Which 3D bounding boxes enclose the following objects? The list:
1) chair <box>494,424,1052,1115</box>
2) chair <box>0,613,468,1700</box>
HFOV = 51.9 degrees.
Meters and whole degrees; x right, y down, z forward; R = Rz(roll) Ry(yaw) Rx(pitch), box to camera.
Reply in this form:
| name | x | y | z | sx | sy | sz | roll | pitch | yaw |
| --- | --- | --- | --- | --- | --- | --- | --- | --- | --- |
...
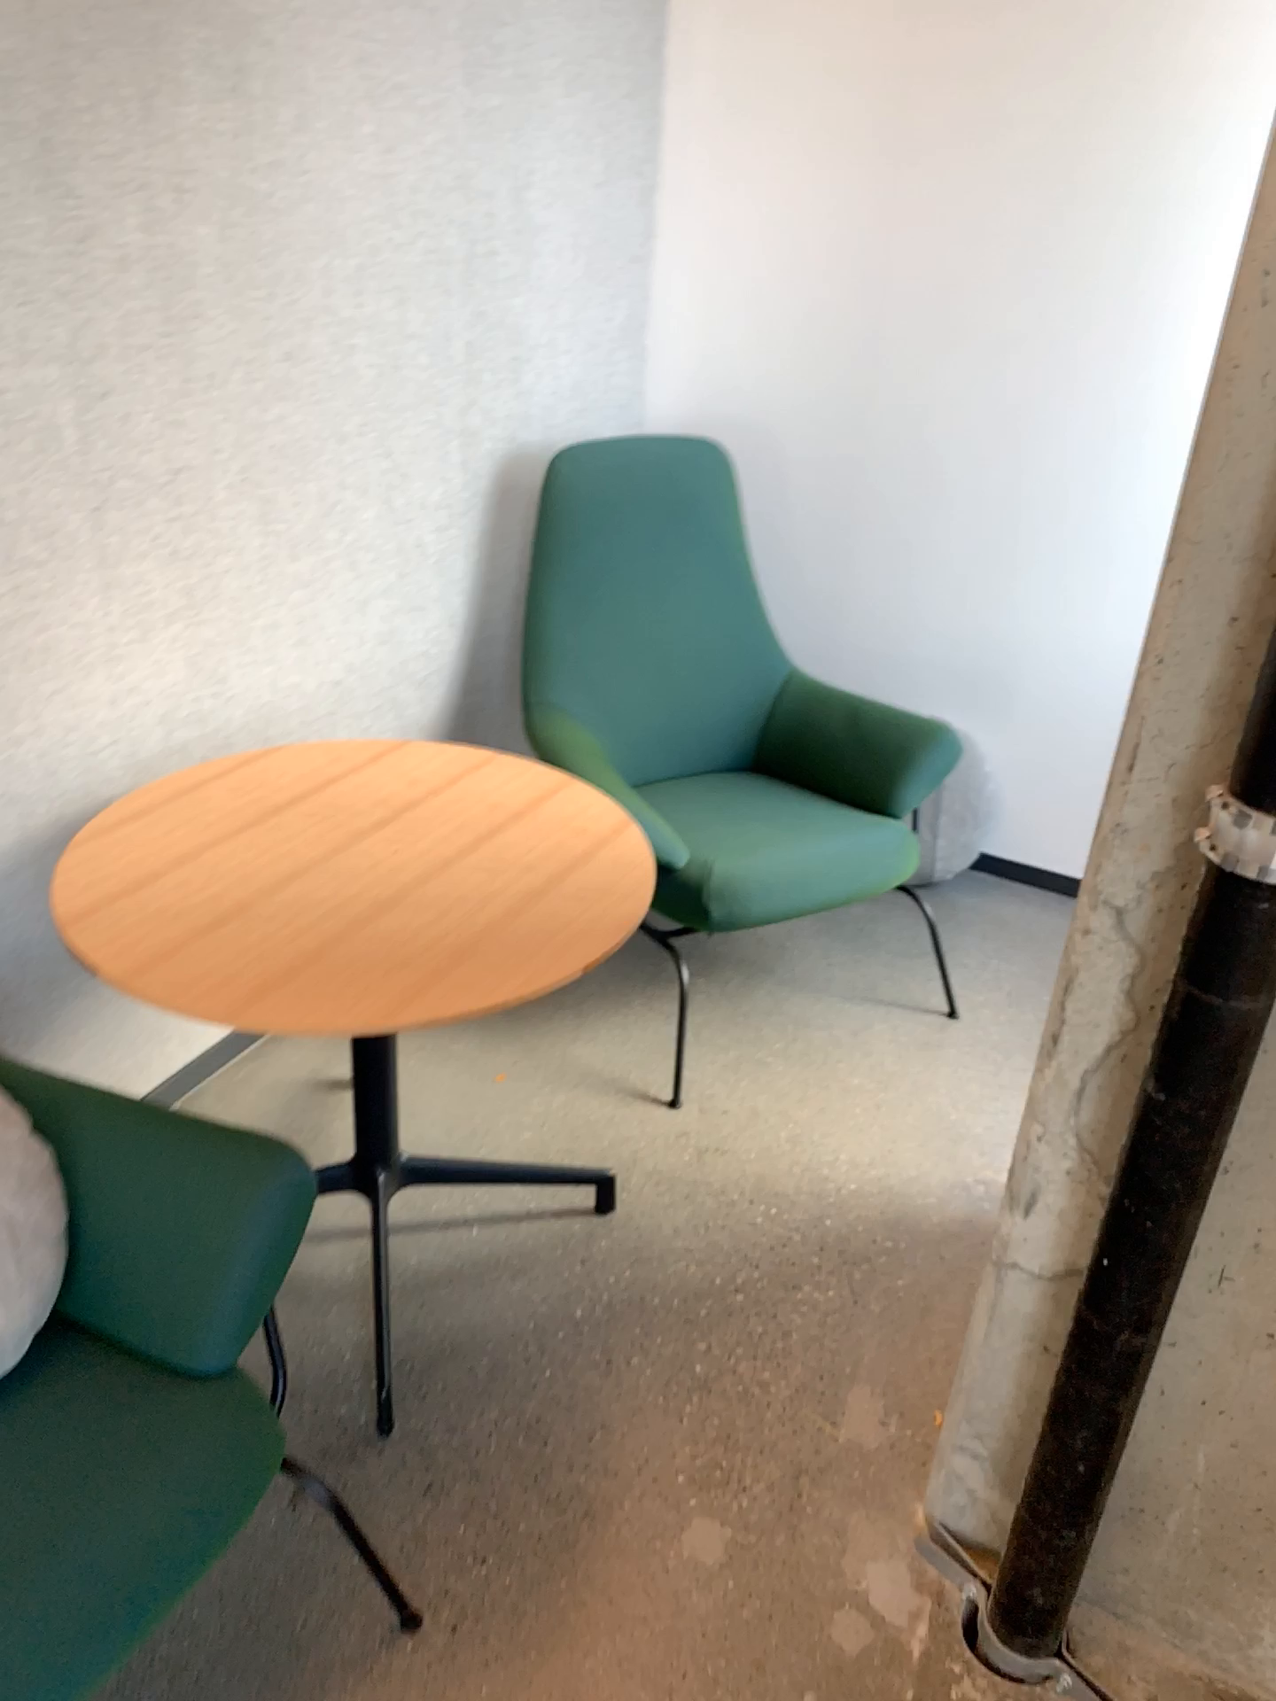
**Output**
| name | x | y | z | sx | sy | sz | roll | pitch | yaw |
| --- | --- | --- | --- | --- | --- | --- | --- | --- | --- |
| chair | 0.180 | -0.210 | 2.499 | 0.650 | 1.014 | 0.754 | -12 | 31 | -28 |
| chair | -0.727 | 0.427 | 1.231 | 0.842 | 0.994 | 0.722 | 18 | 31 | 27 |
